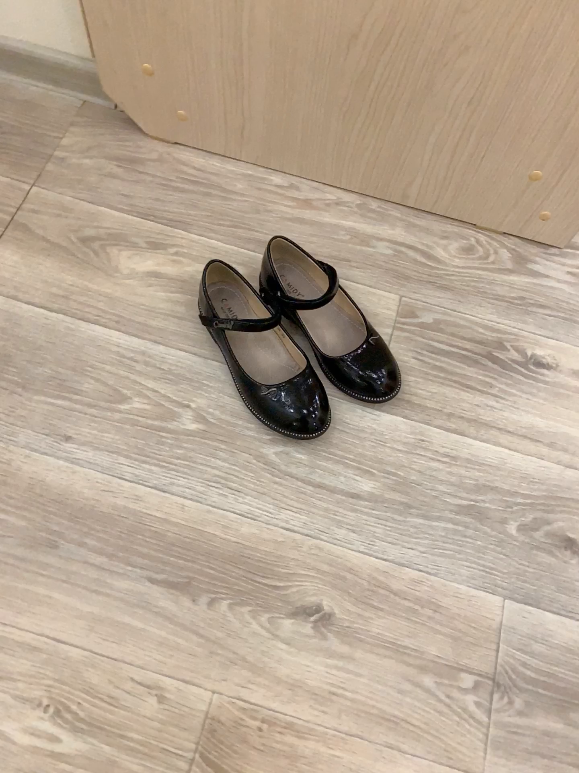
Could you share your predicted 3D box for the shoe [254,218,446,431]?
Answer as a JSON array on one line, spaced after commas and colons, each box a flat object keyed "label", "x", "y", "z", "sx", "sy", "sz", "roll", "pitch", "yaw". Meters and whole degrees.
[{"label": "shoe", "x": 0.067, "y": -0.080, "z": 0.760, "sx": 0.090, "sy": 0.100, "sz": 0.250, "roll": -34, "pitch": 73, "yaw": -18}]

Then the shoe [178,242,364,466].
[{"label": "shoe", "x": -0.029, "y": -0.041, "z": 0.733, "sx": 0.090, "sy": 0.100, "sz": 0.250, "roll": -31, "pitch": 72, "yaw": -17}]
